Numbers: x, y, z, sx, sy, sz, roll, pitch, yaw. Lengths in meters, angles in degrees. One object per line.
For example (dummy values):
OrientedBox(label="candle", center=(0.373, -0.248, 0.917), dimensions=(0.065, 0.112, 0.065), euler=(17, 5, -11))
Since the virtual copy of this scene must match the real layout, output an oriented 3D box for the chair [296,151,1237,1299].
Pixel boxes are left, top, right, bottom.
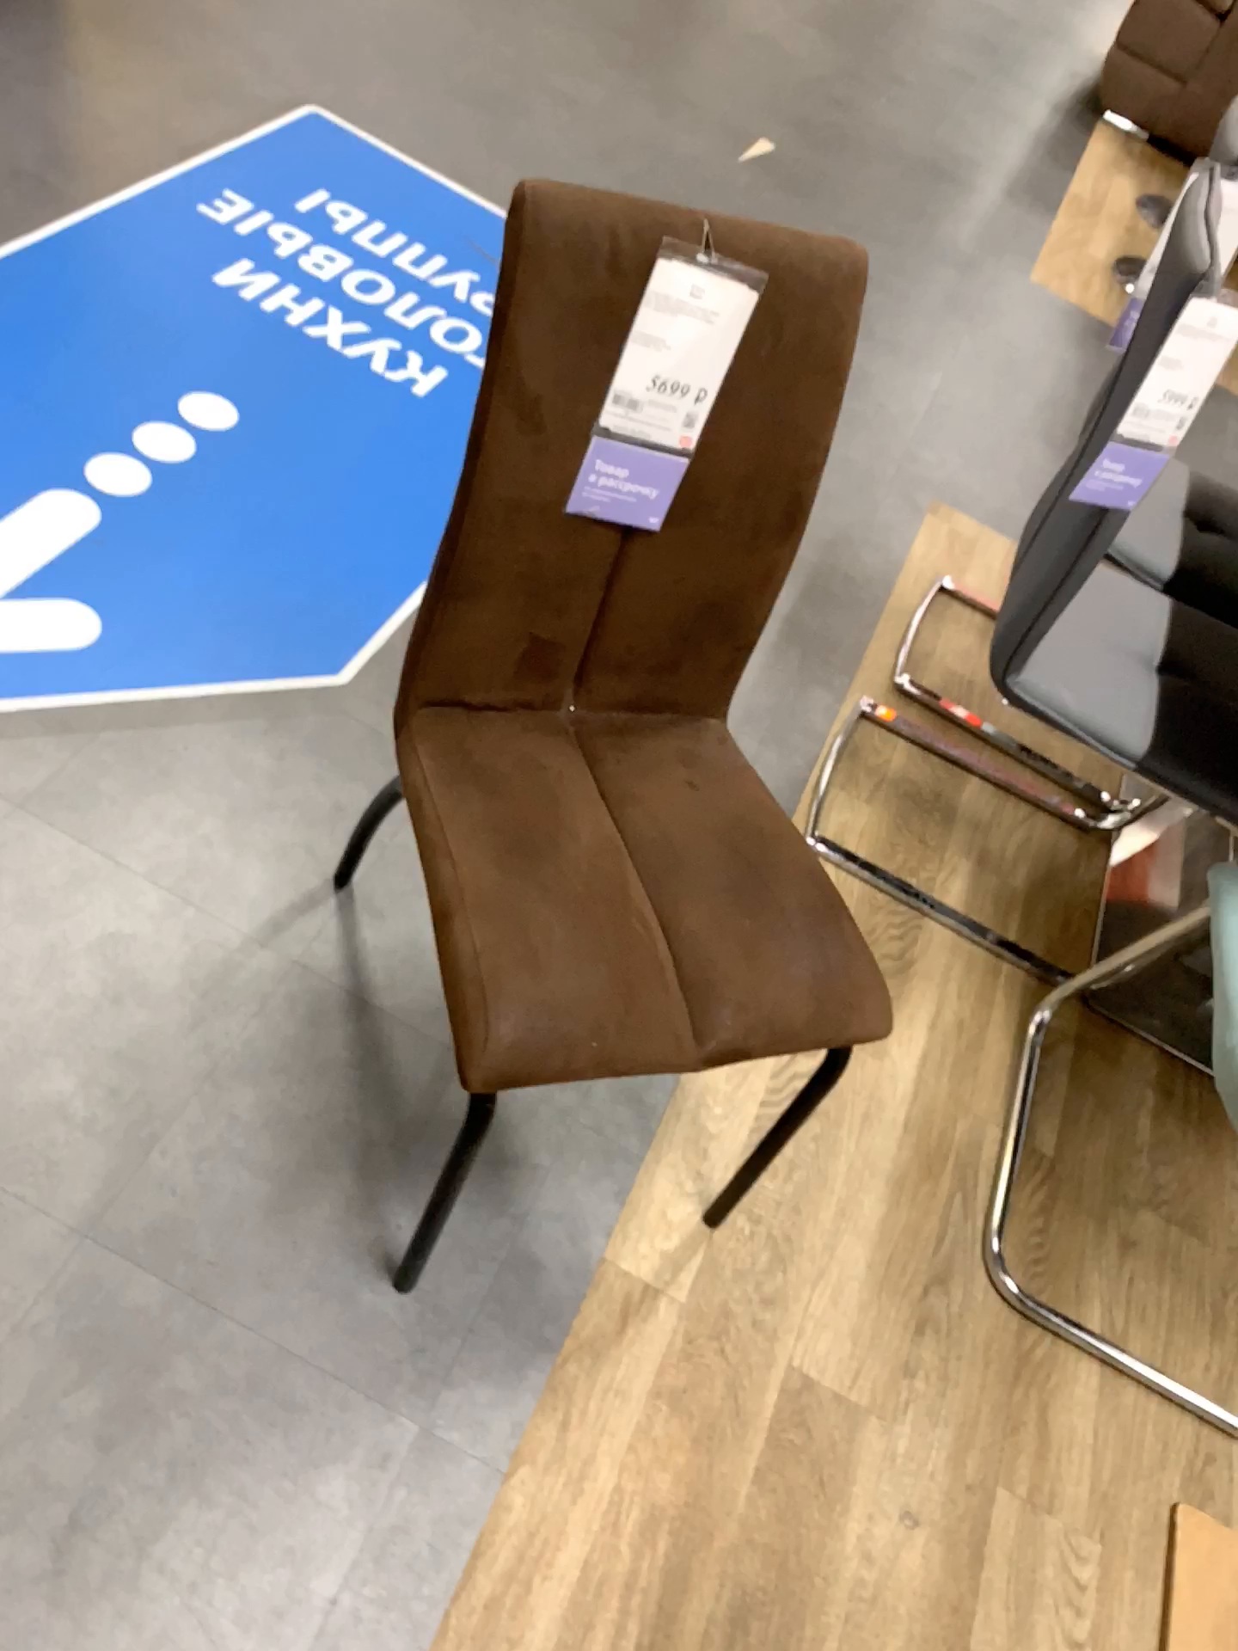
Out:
OrientedBox(label="chair", center=(0.010, -0.017, 1.300), dimensions=(0.441, 0.964, 0.592), euler=(-2, 54, -26))
